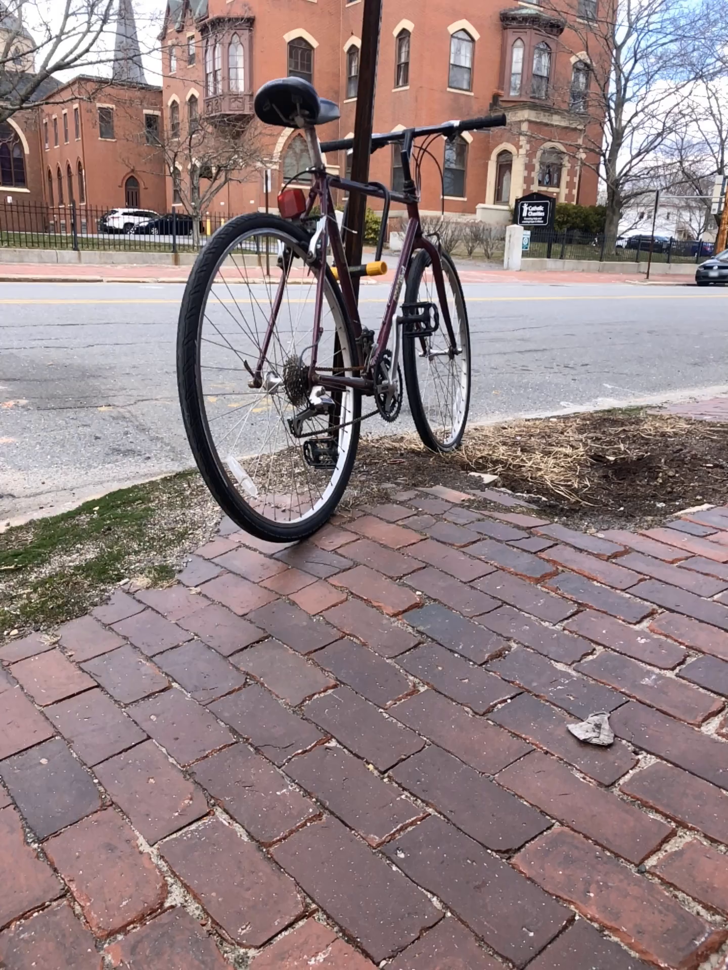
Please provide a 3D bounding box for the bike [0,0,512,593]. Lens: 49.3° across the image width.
[{"bbox_3d":[-0.087,-0.536,2.154,0.554,0.964,1.689,7,17,22],"label":"bike"}]
